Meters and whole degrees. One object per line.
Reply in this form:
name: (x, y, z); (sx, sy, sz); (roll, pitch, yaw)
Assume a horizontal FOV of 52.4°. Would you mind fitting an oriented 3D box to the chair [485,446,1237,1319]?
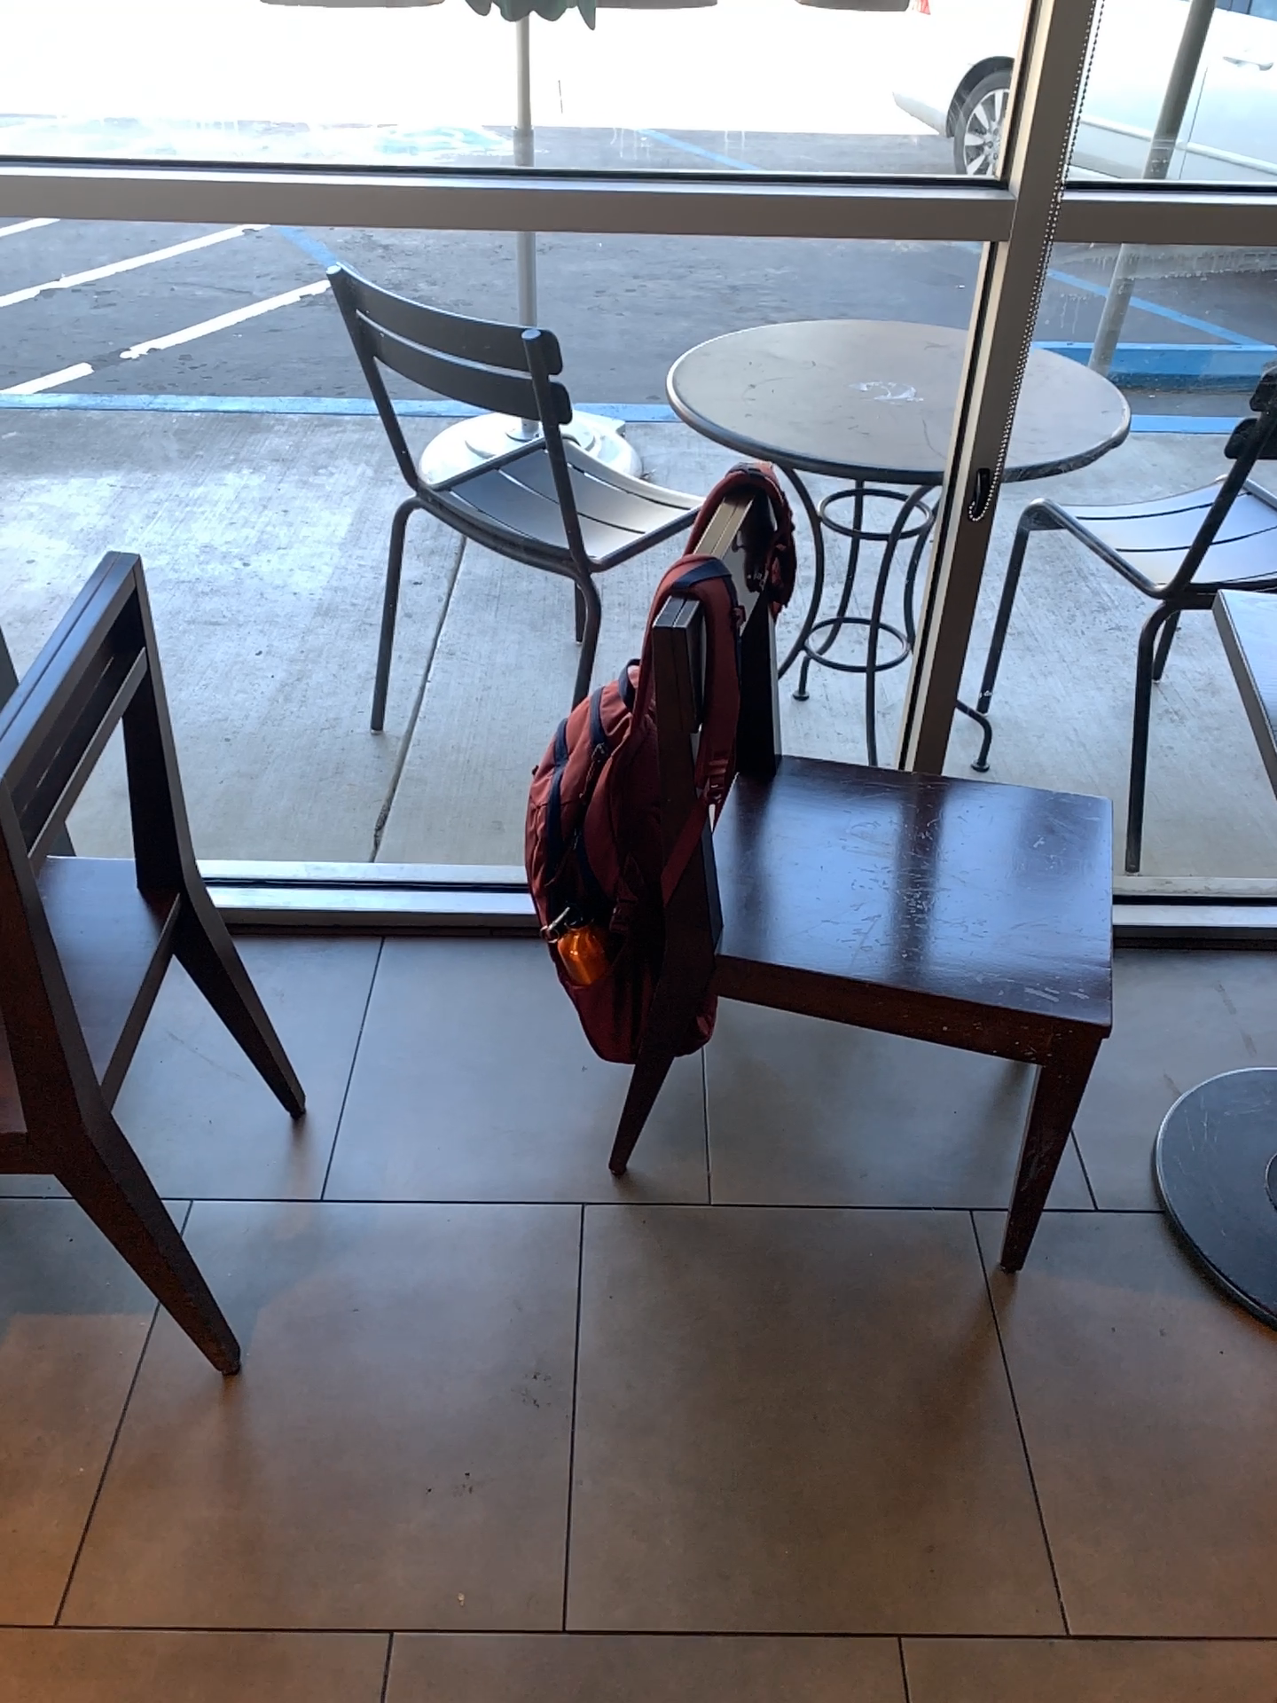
chair: (0.274, 0.022, 1.809); (0.741, 0.855, 0.693); (10, 40, 10)
